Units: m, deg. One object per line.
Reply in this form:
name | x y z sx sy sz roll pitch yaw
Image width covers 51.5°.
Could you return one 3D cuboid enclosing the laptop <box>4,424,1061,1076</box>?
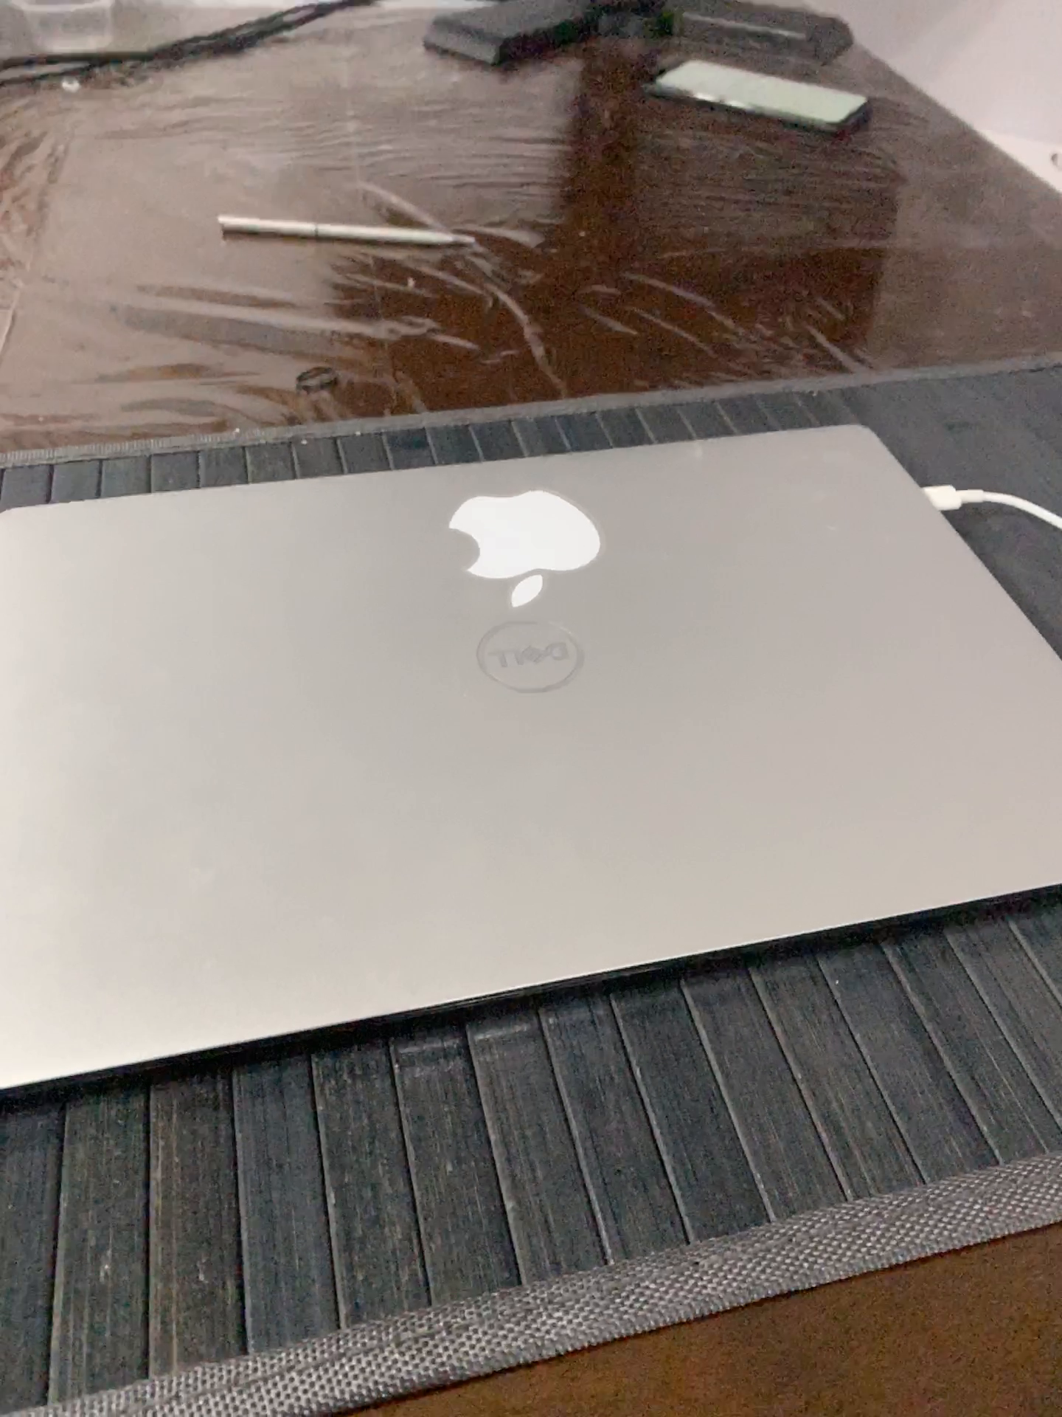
laptop | 0.011 -0.016 0.297 0.271 0.001 0.189 -8 46 -11
